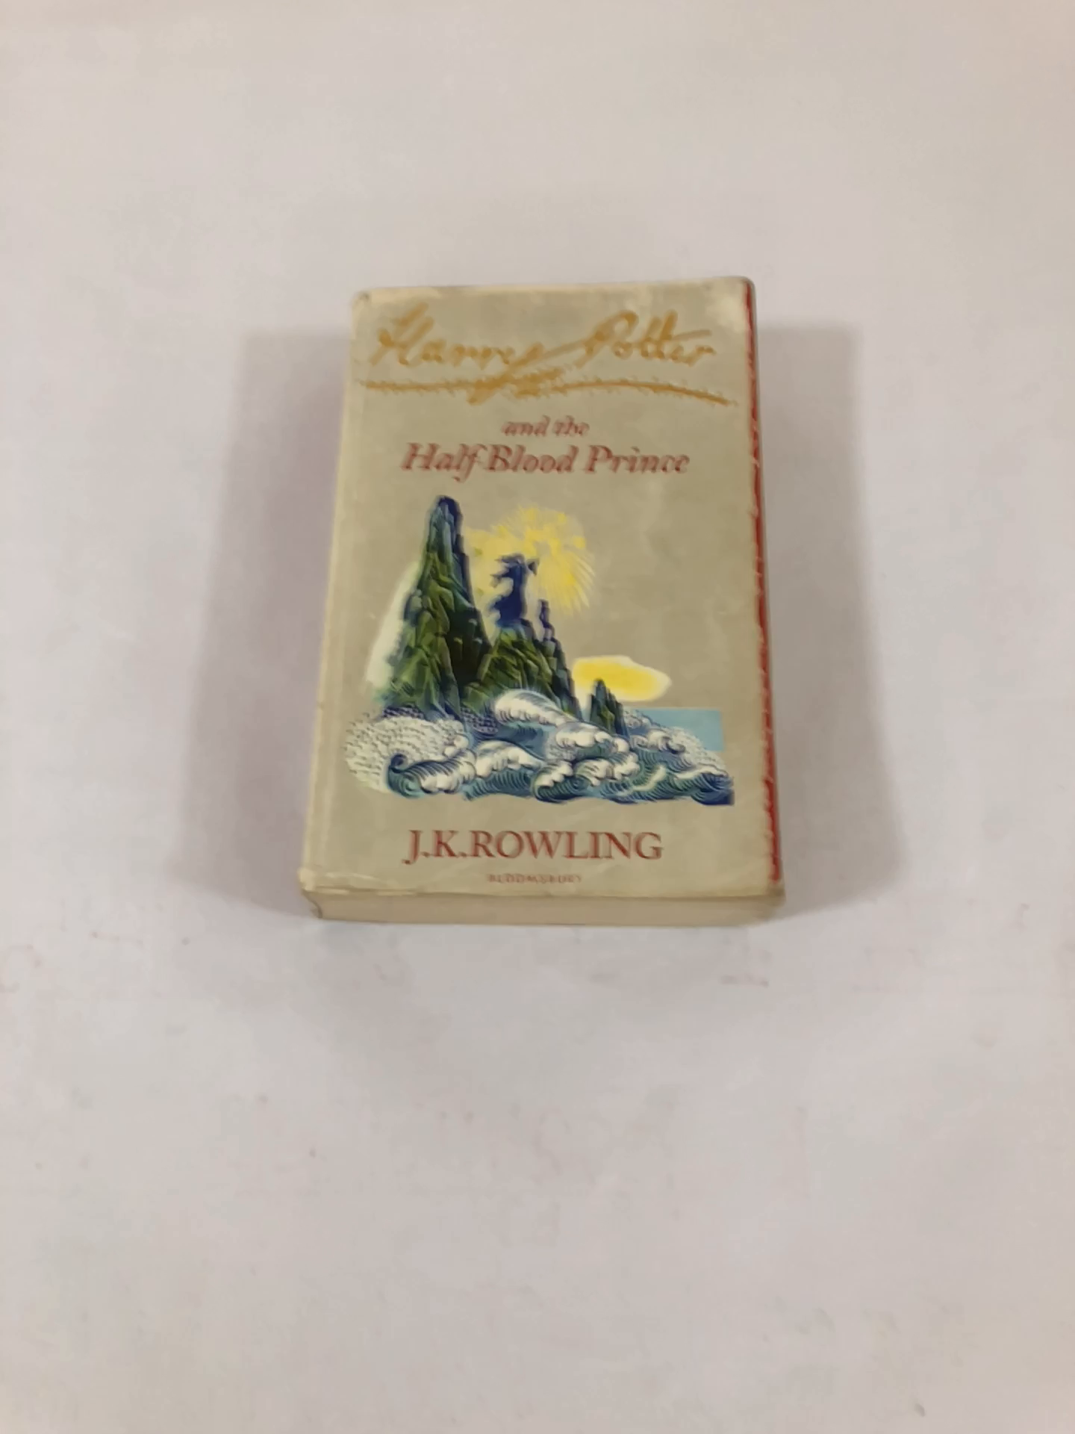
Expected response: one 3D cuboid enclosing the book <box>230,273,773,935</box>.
[{"bbox_3d":[-0.008,-0.034,0.338,0.129,0.050,0.181,0,70,1],"label":"book"}]
